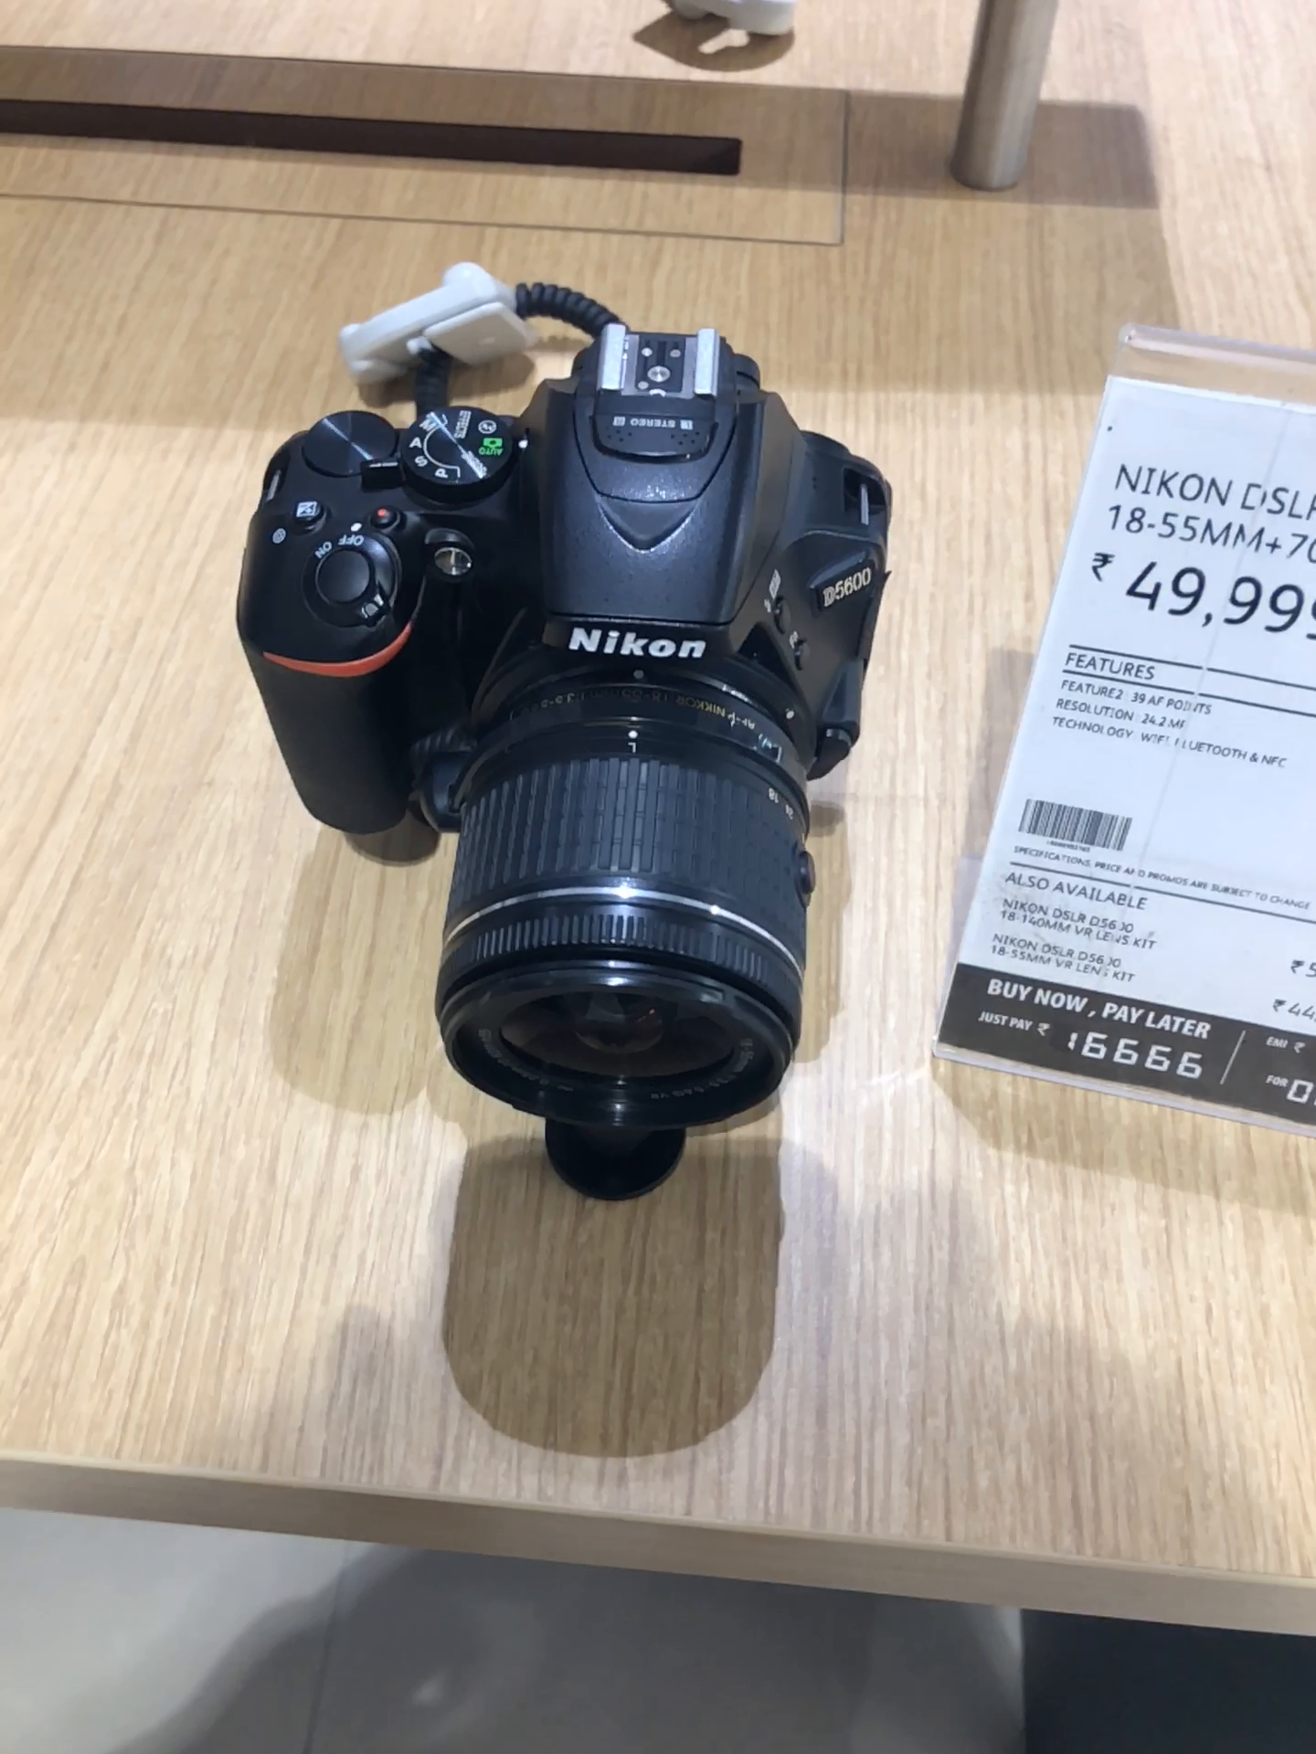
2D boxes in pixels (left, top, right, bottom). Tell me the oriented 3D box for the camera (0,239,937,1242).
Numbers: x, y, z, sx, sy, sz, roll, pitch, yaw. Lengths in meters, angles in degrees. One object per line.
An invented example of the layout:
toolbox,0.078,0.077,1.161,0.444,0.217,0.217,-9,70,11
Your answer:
camera,-0.021,-0.029,0.285,0.130,0.100,0.161,4,56,2
